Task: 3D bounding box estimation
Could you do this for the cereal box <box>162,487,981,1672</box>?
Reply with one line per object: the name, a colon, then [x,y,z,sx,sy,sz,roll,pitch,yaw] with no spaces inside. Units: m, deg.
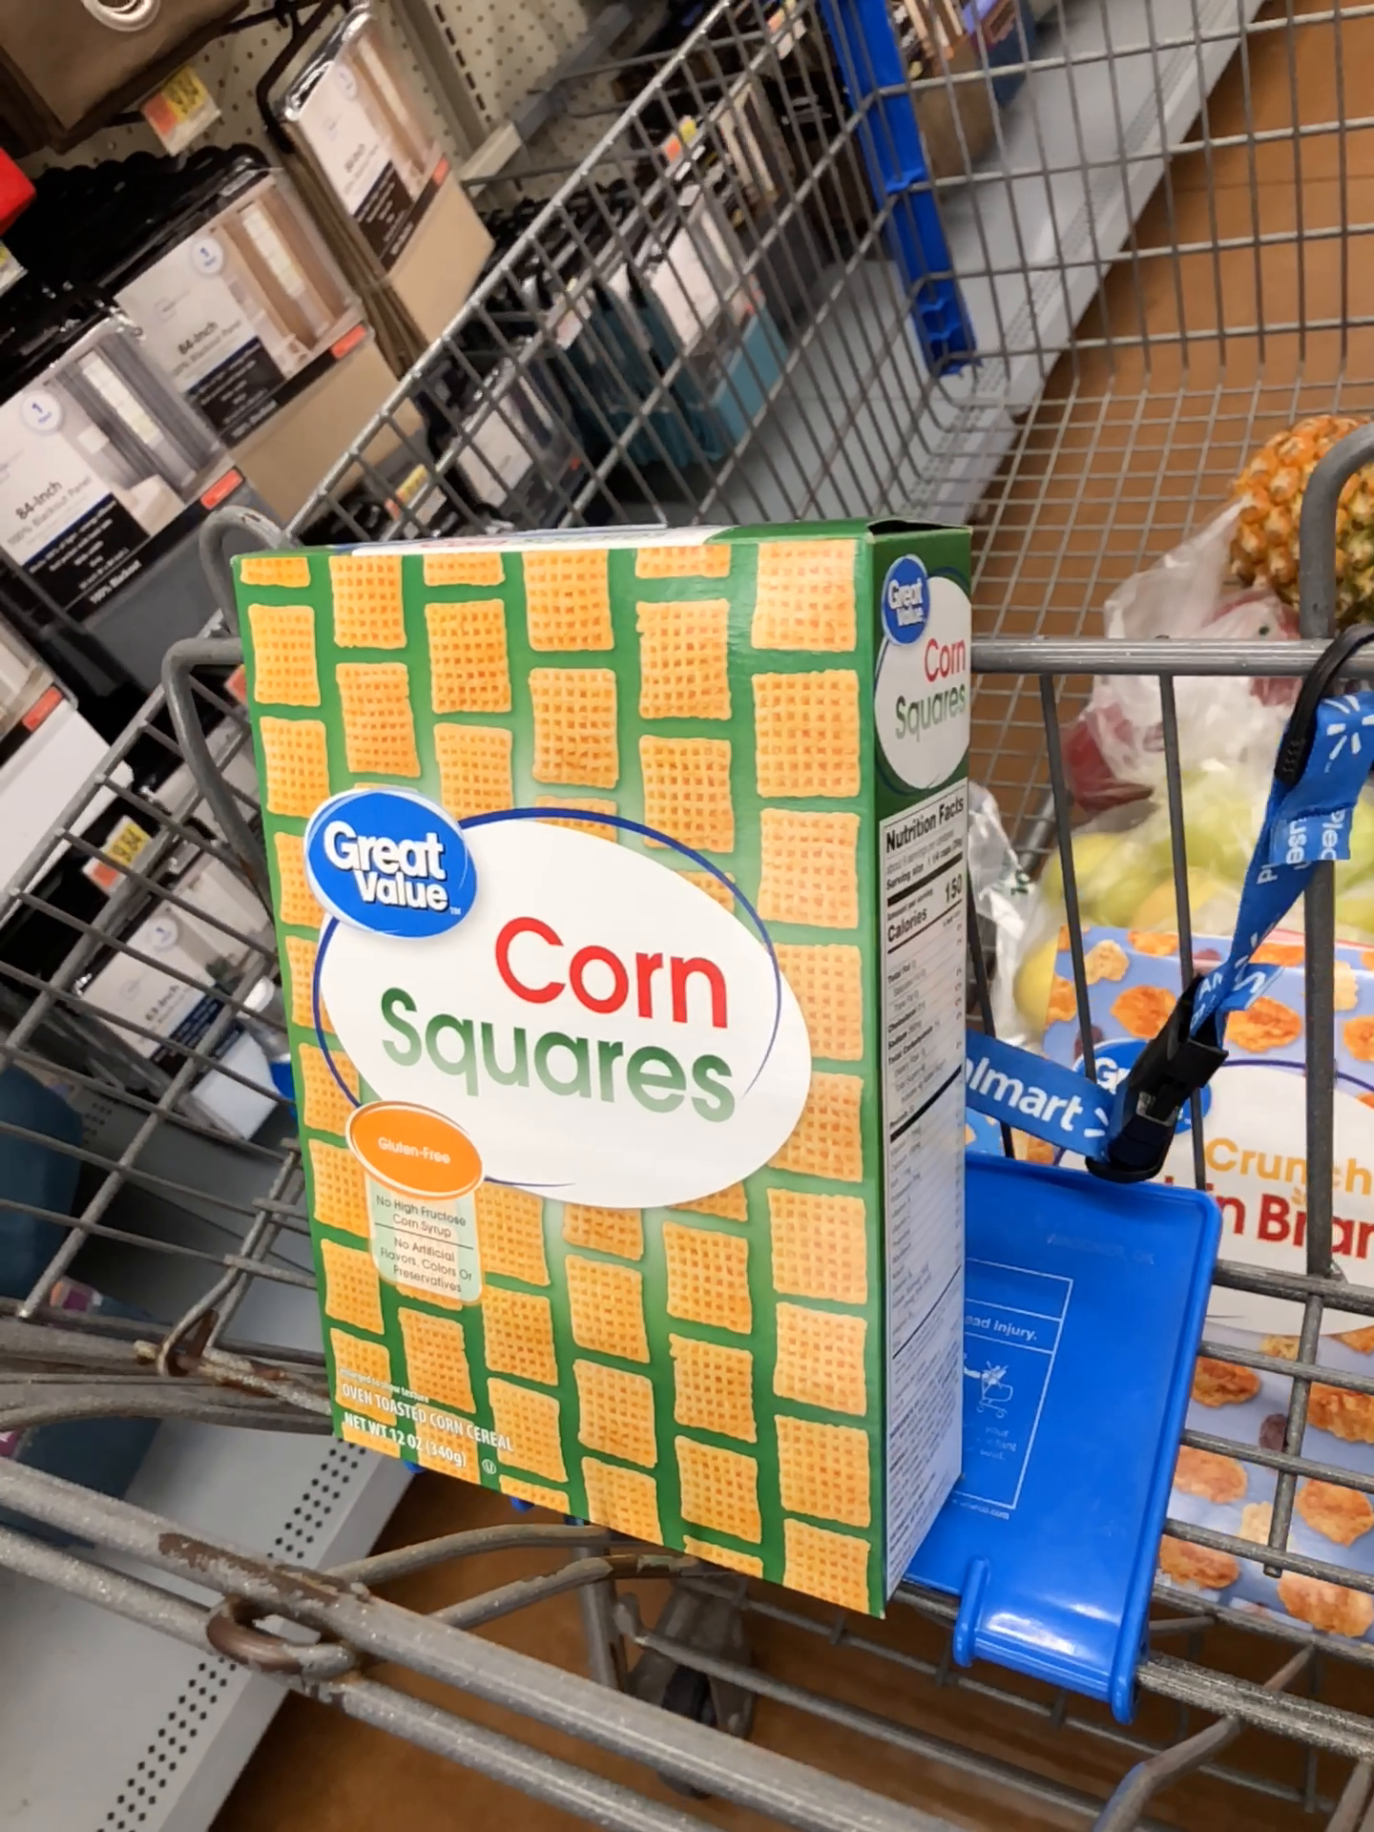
cereal box: [-0.028,0.034,0.417,0.200,0.280,0.070,5,16,29]
